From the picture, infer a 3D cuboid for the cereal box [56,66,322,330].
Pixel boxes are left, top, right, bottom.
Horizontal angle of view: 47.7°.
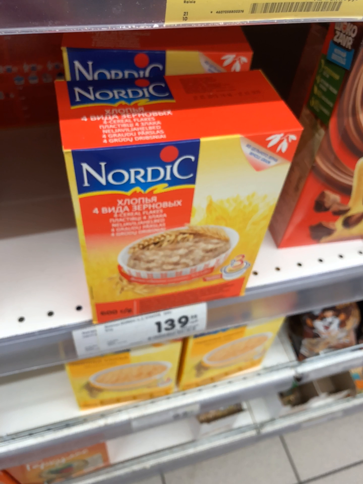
[{"bbox_3d":[-0.005,-0.025,0.328,0.150,0.189,0.080,-9,51,-13],"label":"cereal box"}]
